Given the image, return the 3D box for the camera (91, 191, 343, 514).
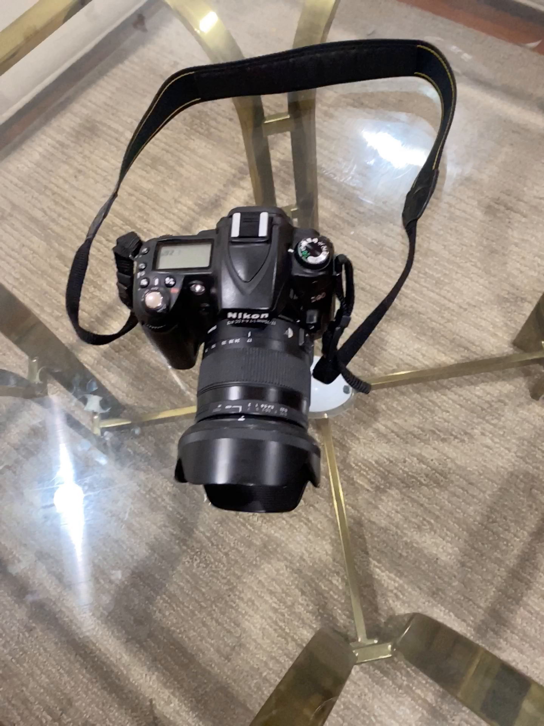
[{"bbox_3d":[-0.022,0.000,0.375,0.130,0.120,0.180,-2,65,6],"label":"camera"}]
